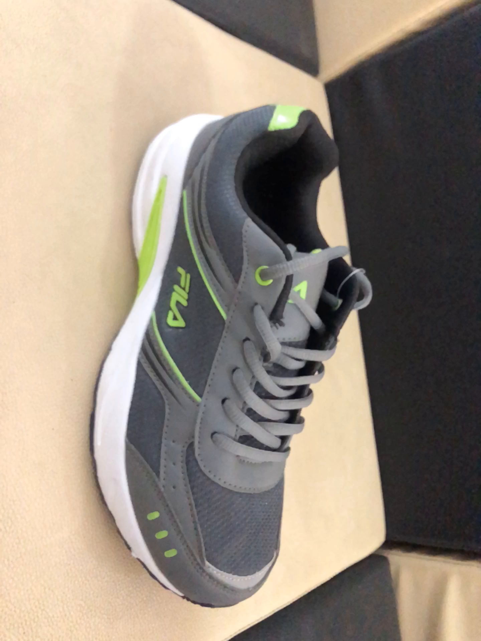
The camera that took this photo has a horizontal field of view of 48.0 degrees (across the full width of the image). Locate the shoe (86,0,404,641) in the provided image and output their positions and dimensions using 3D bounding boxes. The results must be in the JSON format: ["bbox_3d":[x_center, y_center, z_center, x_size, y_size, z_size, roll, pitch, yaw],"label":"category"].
[{"bbox_3d":[0.000,-0.001,0.310,0.131,0.099,0.320,10,73,-44],"label":"shoe"}]
